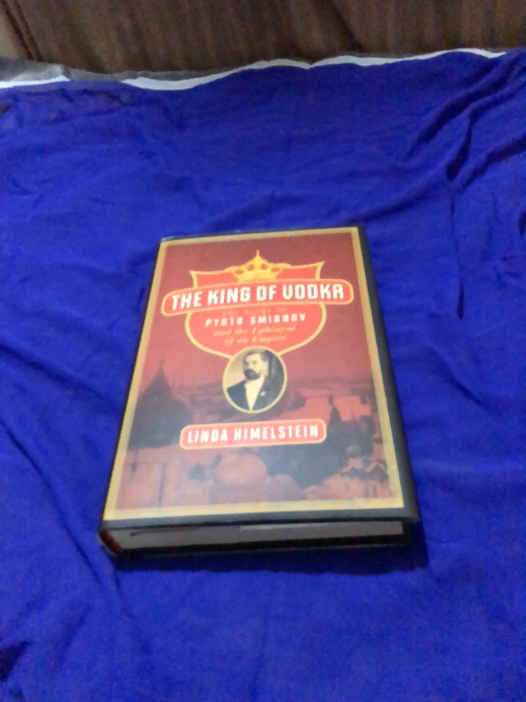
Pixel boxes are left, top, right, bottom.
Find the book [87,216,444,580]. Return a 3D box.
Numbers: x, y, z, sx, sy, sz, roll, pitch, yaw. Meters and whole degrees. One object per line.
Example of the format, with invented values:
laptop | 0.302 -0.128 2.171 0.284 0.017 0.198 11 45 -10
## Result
book | 0.001 0.011 0.378 0.170 0.050 0.251 -4 47 4
